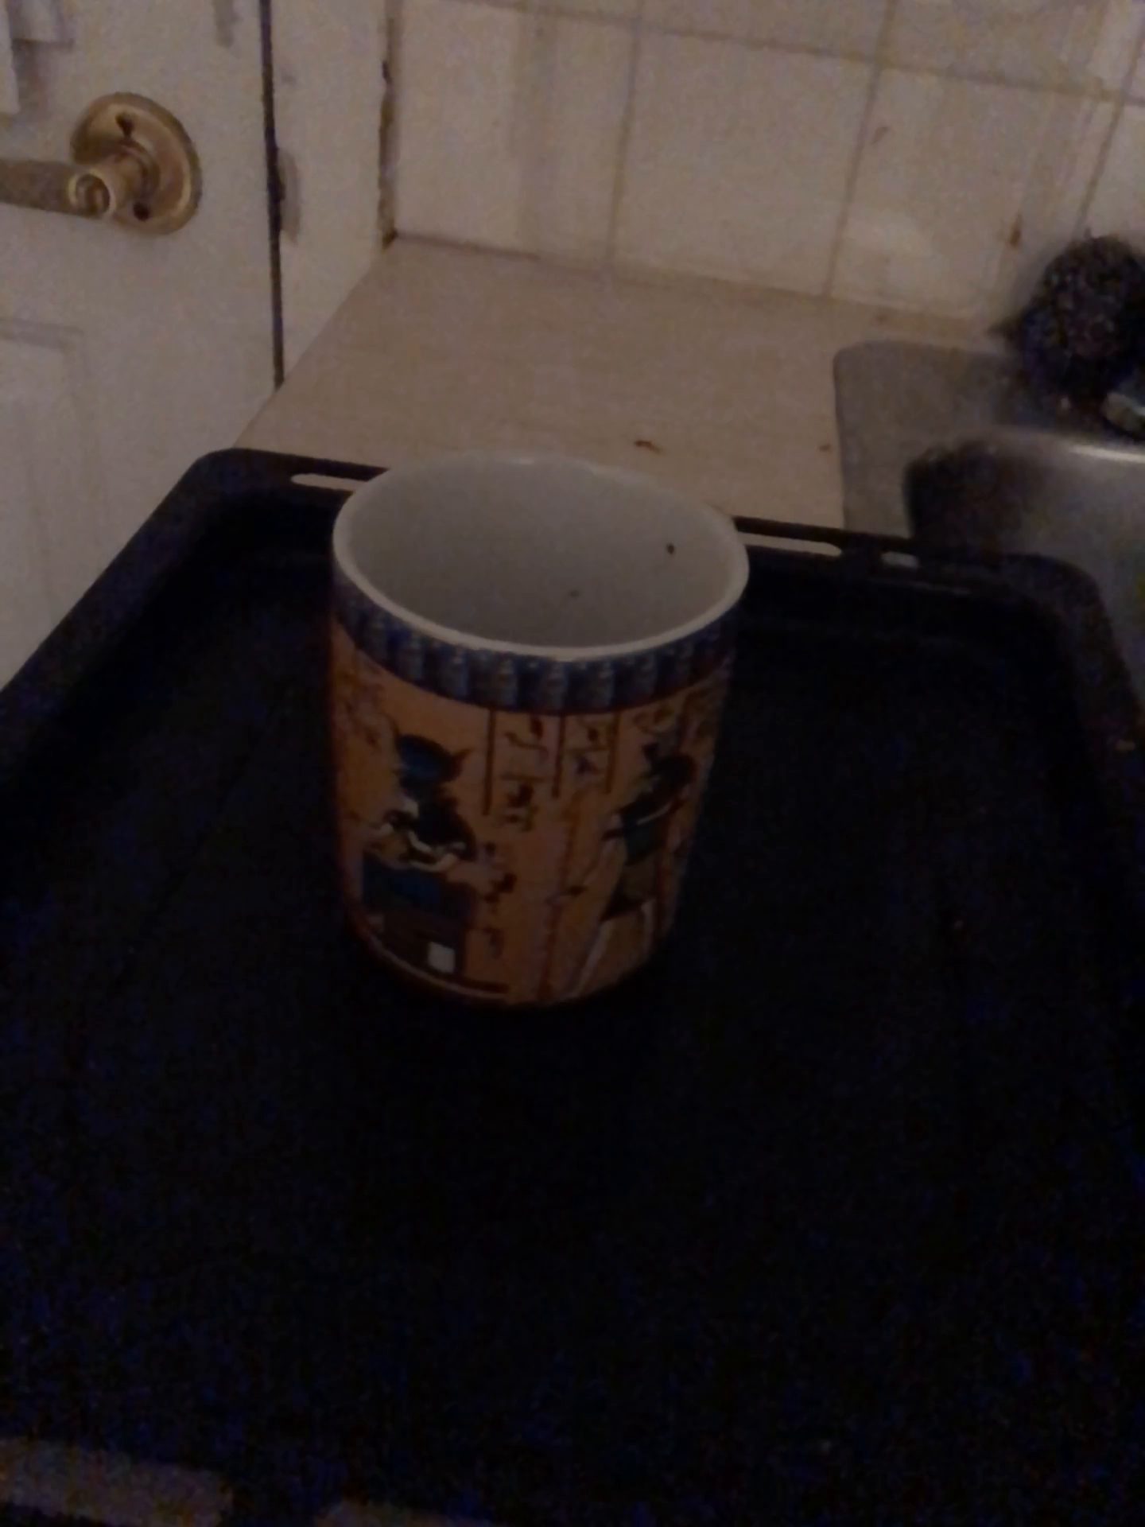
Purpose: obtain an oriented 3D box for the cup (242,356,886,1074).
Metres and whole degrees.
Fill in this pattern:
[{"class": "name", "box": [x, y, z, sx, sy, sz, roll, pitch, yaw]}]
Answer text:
[{"class": "cup", "box": [0.001, -0.019, 0.281, 0.080, 0.089, 0.121, 24, 41, 19]}]
